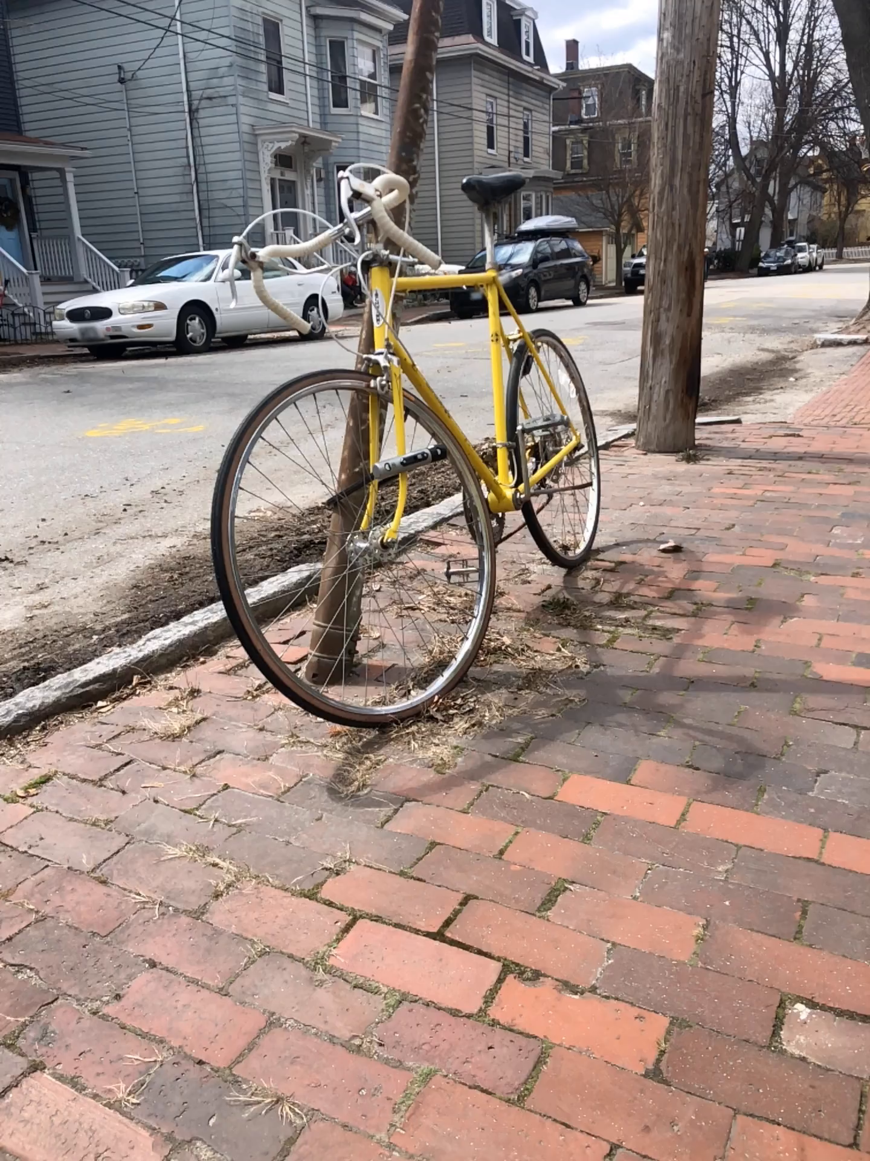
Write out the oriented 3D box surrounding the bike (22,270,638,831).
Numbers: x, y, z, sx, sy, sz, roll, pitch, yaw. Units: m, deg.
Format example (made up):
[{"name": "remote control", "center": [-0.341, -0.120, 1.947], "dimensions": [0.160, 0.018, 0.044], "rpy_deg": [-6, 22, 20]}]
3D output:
[{"name": "bike", "center": [-0.051, -0.266, 2.335], "dimensions": [0.538, 0.805, 1.695], "rpy_deg": [8, 23, 29]}]
